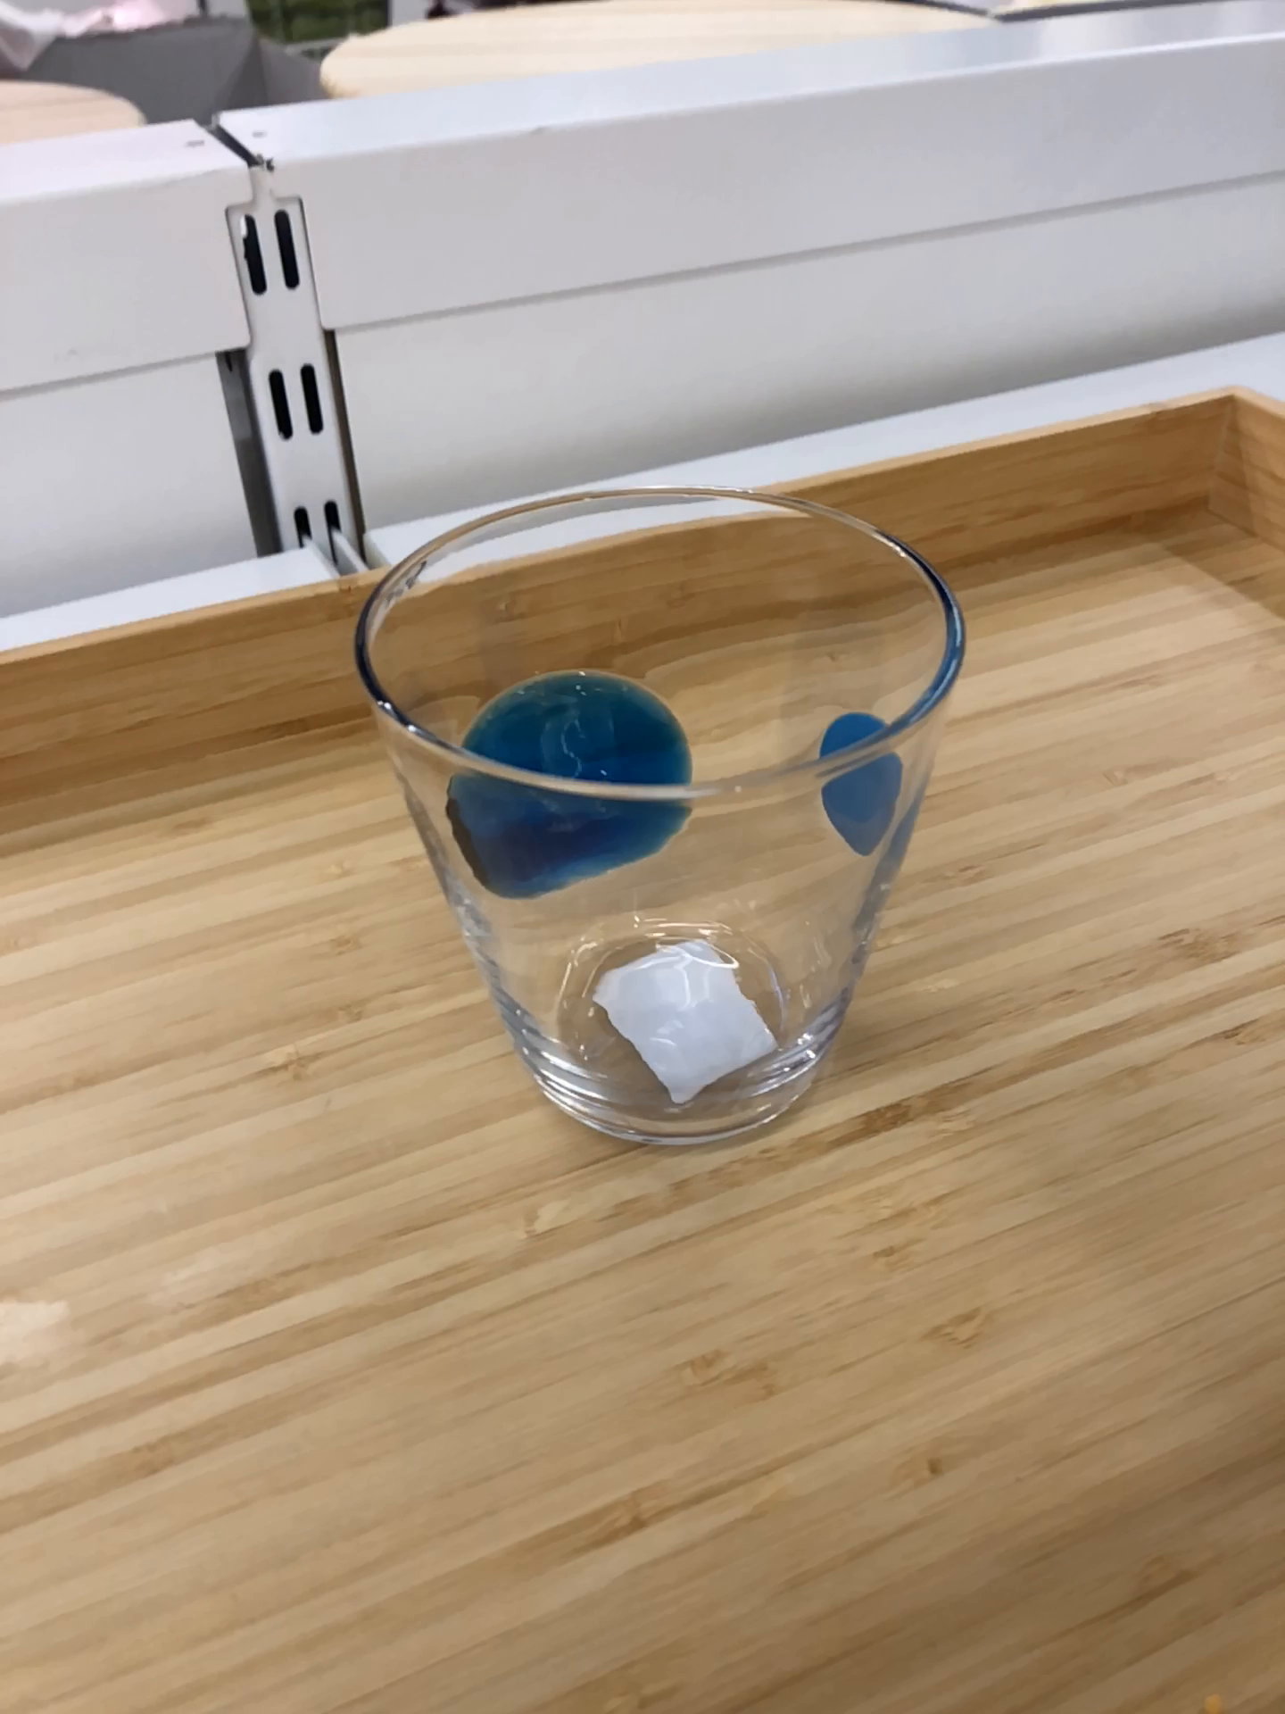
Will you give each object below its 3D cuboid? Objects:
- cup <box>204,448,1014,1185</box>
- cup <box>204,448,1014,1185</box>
[{"bbox_3d":[0.002,-0.013,0.235,0.100,0.070,0.100,-1,38,1],"label":"cup"},{"bbox_3d":[0.002,-0.013,0.235,0.100,0.070,0.100,-1,38,1],"label":"cup"}]
